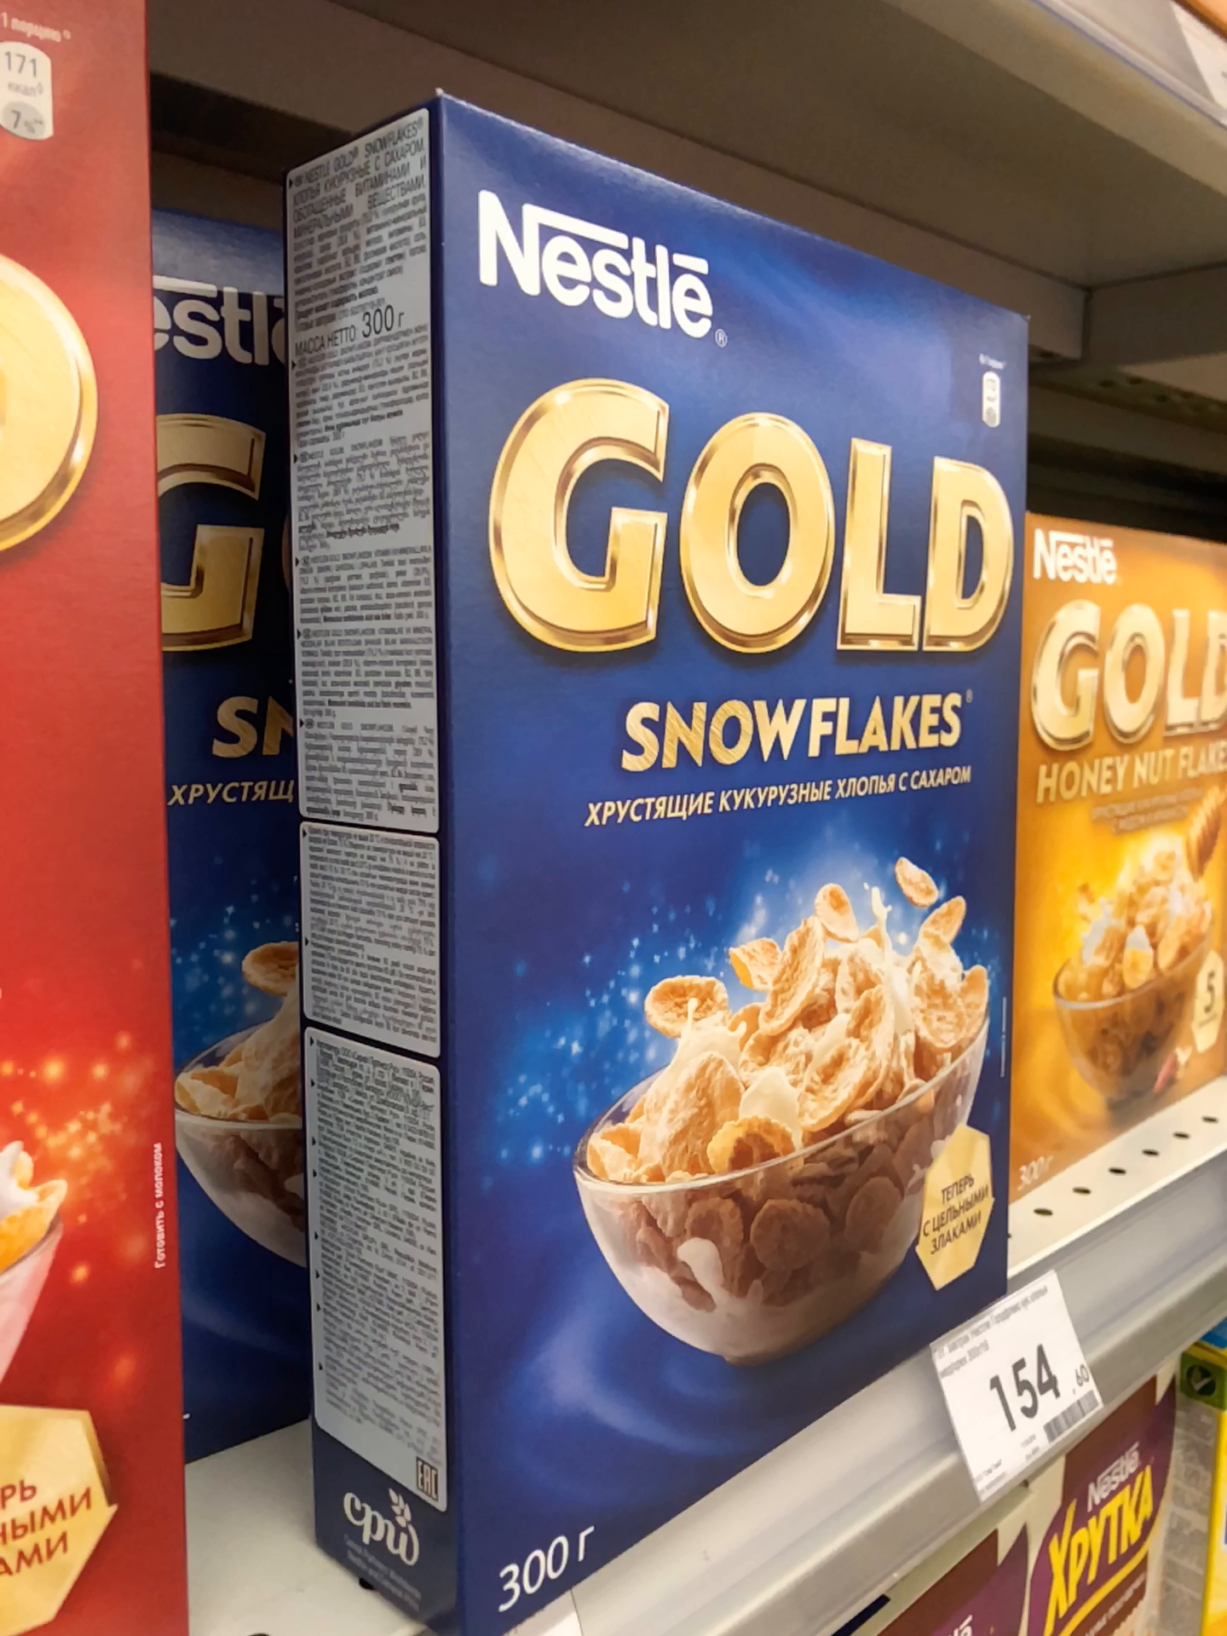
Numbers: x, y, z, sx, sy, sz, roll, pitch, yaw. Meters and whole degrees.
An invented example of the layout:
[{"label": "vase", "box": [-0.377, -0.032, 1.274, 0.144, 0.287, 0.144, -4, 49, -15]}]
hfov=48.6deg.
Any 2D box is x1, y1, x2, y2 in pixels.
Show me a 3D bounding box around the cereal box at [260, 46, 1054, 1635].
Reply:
[{"label": "cereal box", "box": [0.026, 0.008, 0.306, 0.050, 0.270, 0.200, 5, 8, 44]}]
